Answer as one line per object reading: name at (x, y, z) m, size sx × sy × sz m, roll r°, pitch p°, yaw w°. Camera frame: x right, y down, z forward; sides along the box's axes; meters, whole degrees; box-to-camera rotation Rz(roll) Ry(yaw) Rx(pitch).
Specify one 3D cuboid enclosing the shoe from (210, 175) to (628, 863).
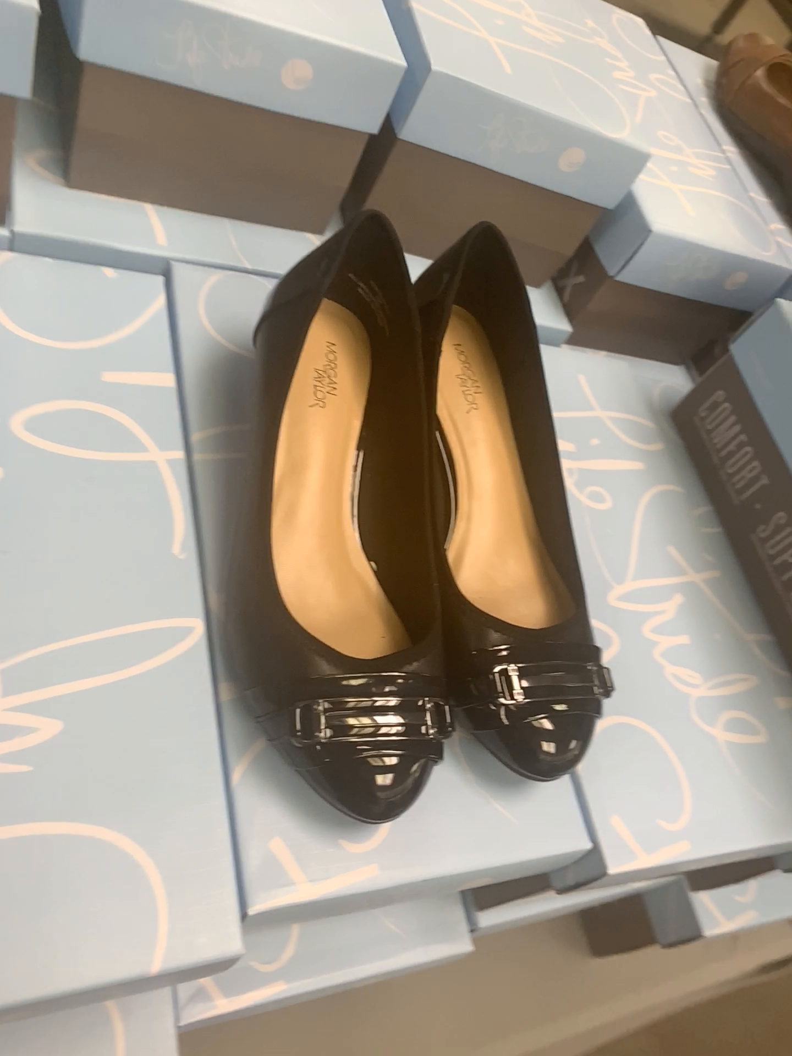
shoe at (-0.011, -0.011, 0.324) m, size 0.091 × 0.095 × 0.246 m, roll 5°, pitch 57°, yaw -26°

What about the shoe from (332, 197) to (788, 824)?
shoe at (0.052, -0.015, 0.362) m, size 0.091 × 0.095 × 0.251 m, roll 2°, pitch 58°, yaw -28°
